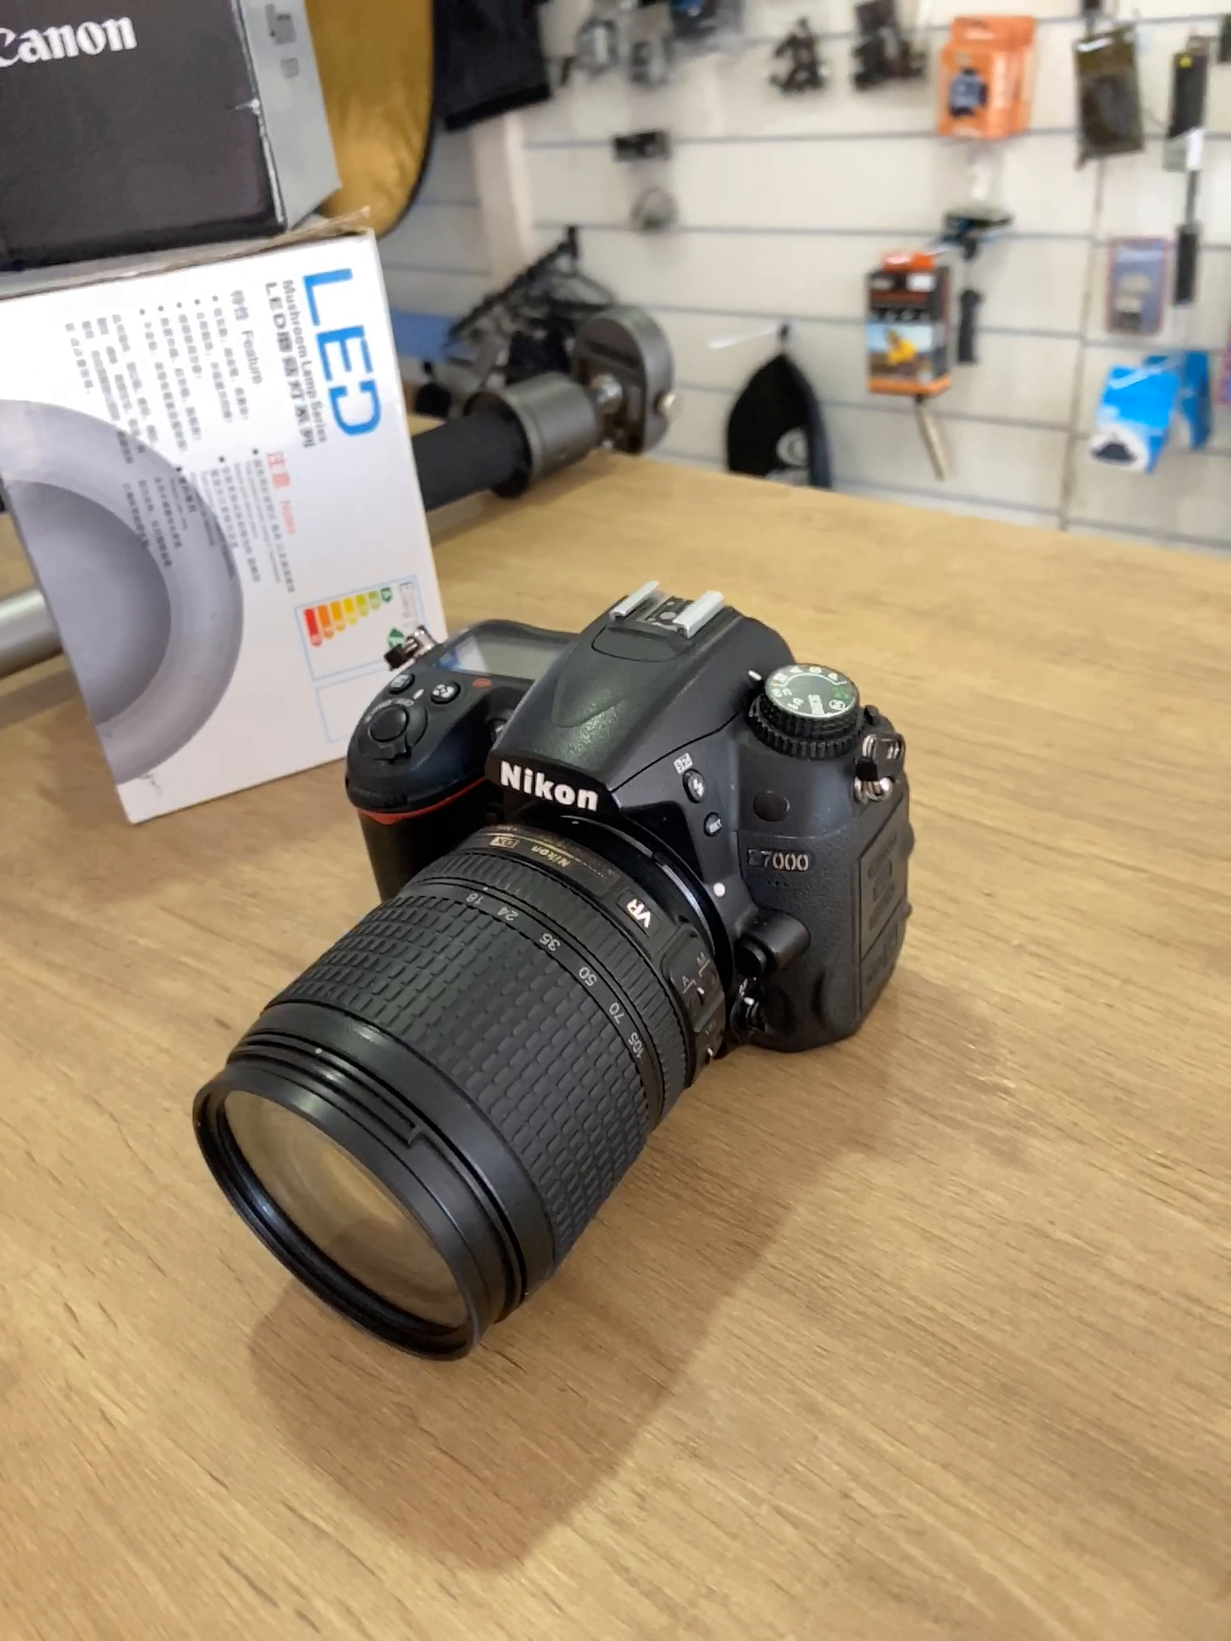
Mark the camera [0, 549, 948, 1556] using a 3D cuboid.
[{"bbox_3d":[-0.024,0.025,0.273,0.140,0.099,0.161,12,37,28],"label":"camera"}]
